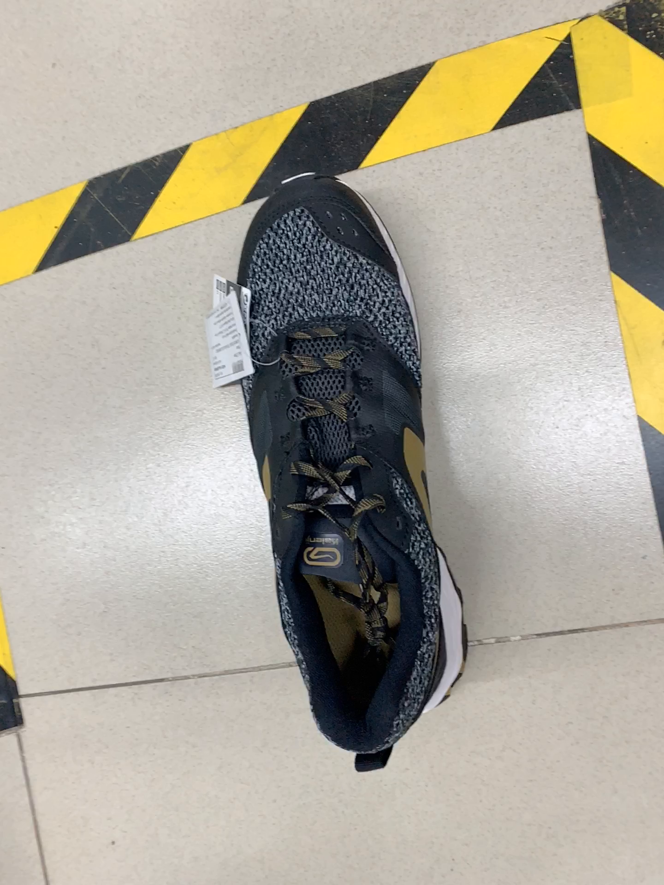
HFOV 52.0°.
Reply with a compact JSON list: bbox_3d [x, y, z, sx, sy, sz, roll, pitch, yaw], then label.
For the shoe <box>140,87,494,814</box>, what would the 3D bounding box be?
[{"bbox_3d":[0.001,0.009,0.341,0.110,0.100,0.300,-9,90,15],"label":"shoe"}]
